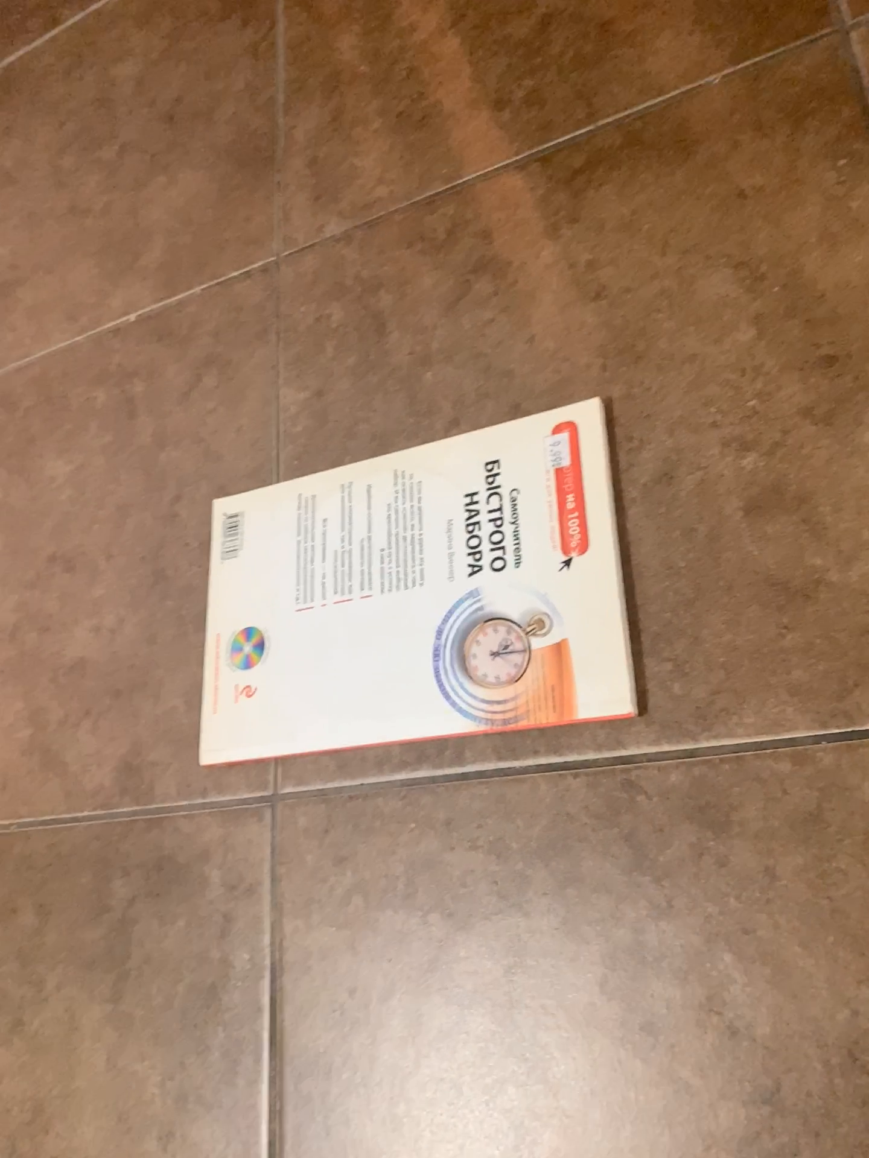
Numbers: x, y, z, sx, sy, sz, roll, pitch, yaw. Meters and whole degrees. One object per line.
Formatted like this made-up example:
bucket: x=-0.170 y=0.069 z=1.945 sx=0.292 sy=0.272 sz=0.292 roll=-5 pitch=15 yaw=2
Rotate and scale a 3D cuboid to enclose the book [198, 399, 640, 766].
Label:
book: x=-0.019 y=0.007 z=0.403 sx=0.210 sy=0.009 sz=0.134 roll=-11 pitch=70 yaw=25
